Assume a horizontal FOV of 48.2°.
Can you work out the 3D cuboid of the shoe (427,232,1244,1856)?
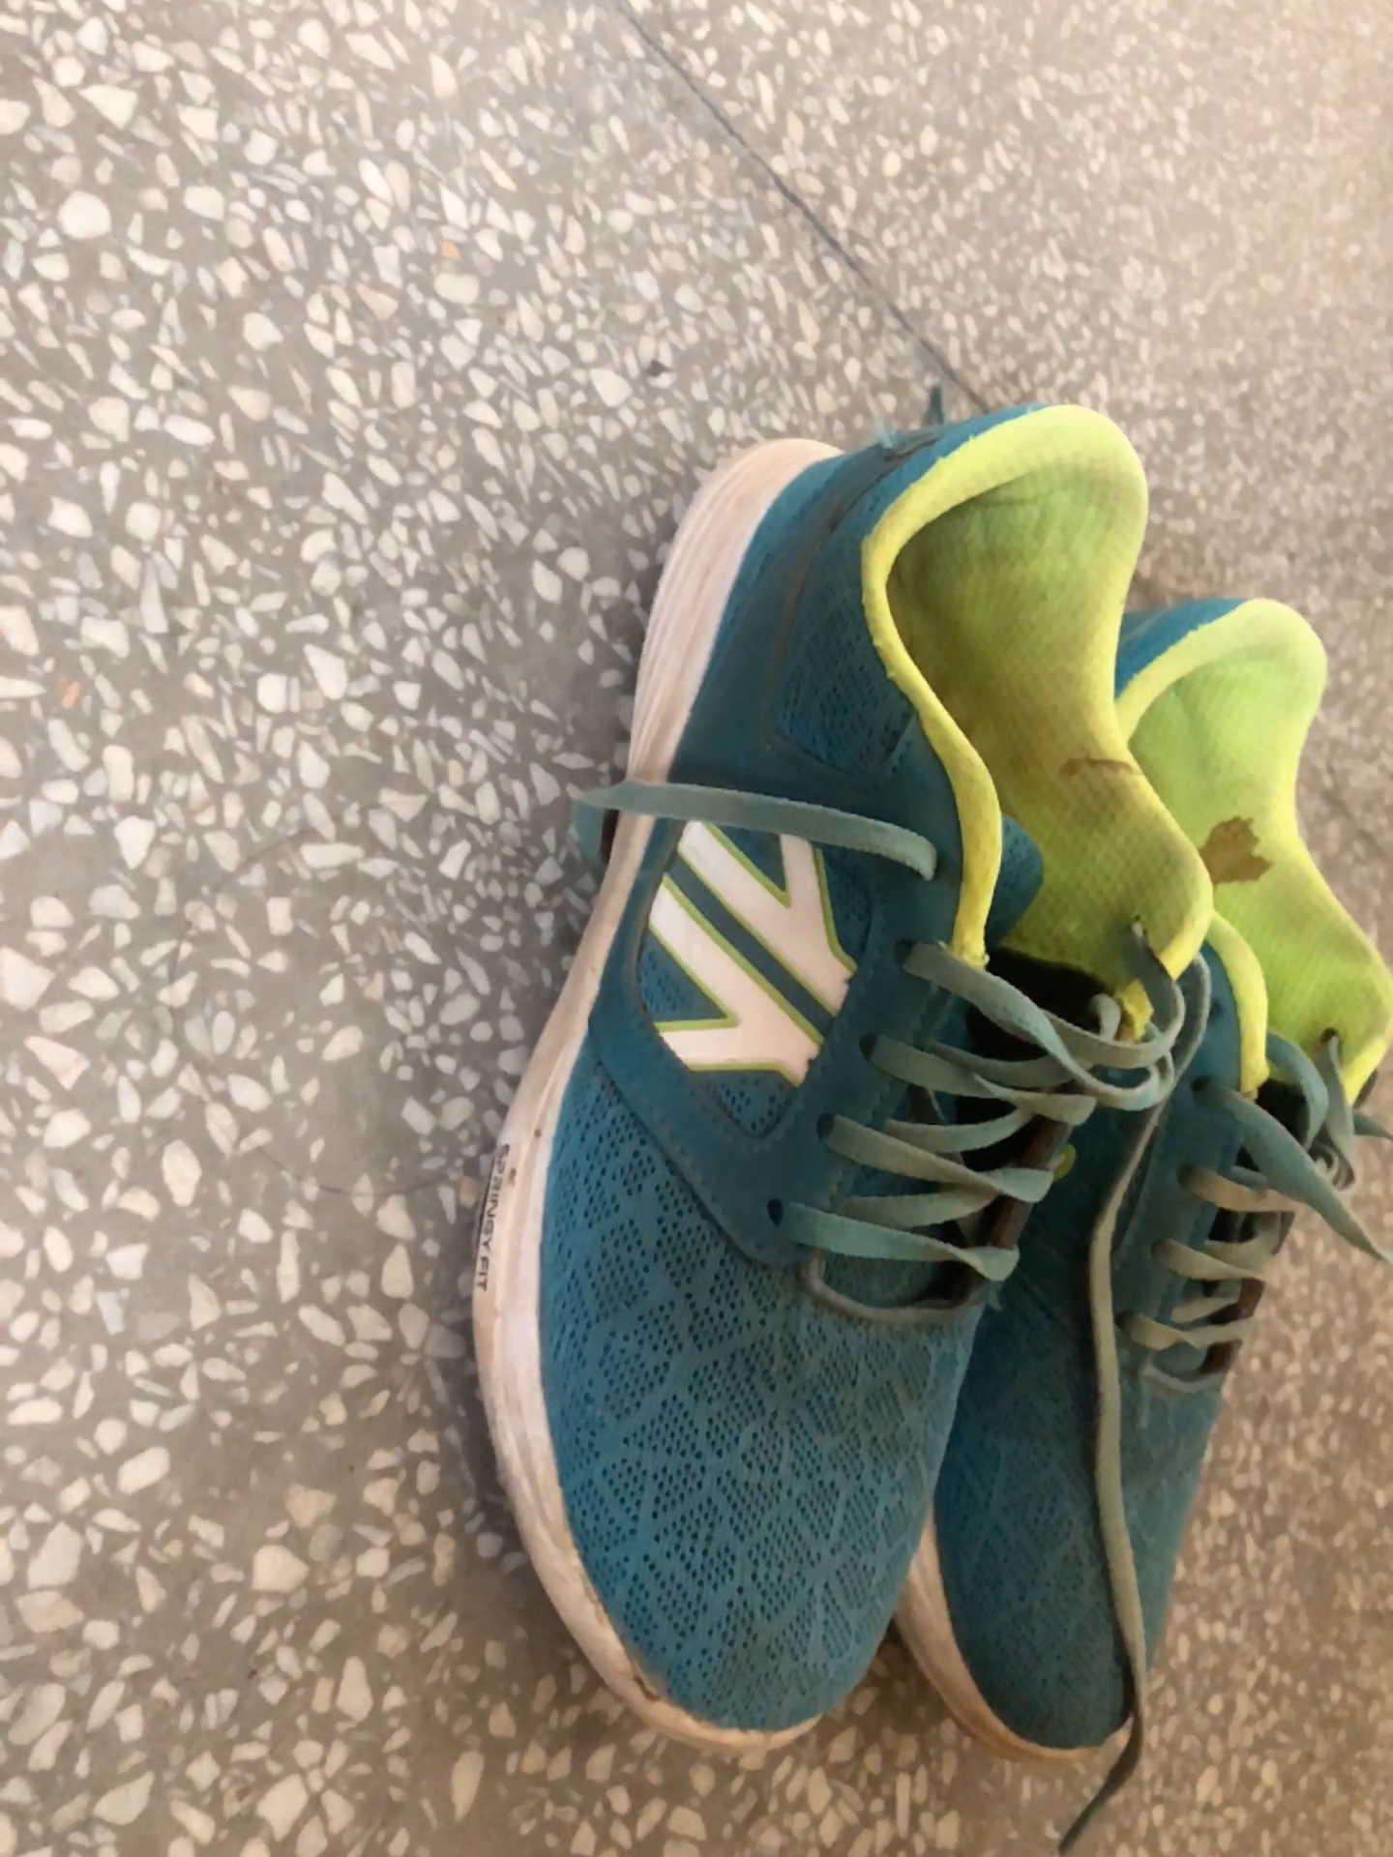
[{"bbox_3d":[0.034,0.017,0.280,0.090,0.080,0.240,22,69,-39],"label":"shoe"}]

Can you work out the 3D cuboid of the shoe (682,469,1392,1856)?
[{"bbox_3d":[0.083,0.046,0.338,0.100,0.080,0.250,20,76,-39],"label":"shoe"}]
